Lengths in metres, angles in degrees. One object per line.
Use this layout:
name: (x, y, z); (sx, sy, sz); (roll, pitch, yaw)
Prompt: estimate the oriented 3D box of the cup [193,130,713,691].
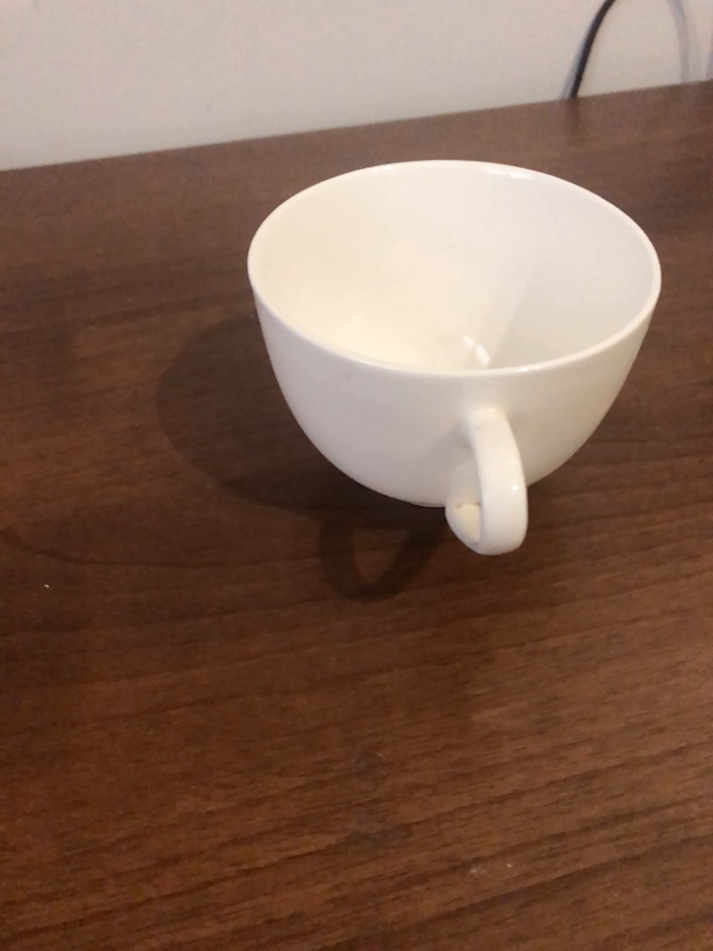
cup: (0.020, -0.021, 0.182); (0.090, 0.069, 0.111); (-3, 44, -1)
